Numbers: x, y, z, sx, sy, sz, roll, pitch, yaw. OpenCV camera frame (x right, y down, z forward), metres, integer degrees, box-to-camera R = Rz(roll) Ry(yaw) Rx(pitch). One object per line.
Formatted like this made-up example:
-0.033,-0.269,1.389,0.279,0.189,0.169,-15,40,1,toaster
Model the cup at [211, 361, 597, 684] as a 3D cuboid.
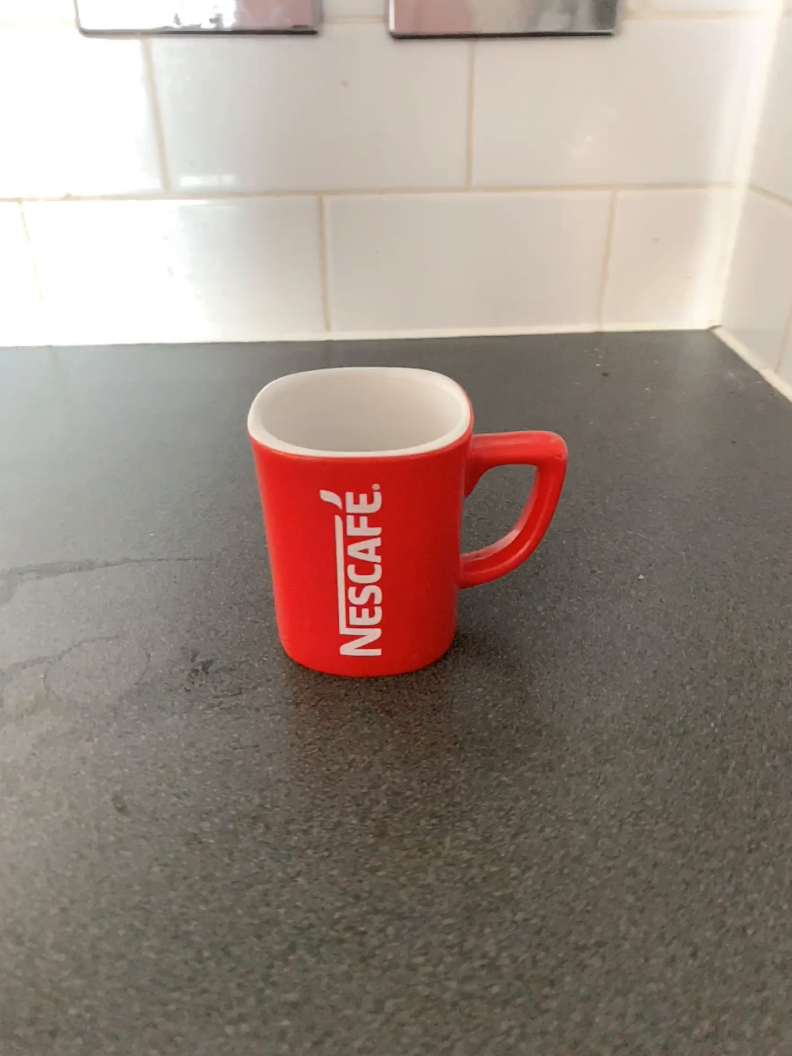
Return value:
0.003,-0.003,0.288,0.112,0.091,0.068,0,31,1,cup
